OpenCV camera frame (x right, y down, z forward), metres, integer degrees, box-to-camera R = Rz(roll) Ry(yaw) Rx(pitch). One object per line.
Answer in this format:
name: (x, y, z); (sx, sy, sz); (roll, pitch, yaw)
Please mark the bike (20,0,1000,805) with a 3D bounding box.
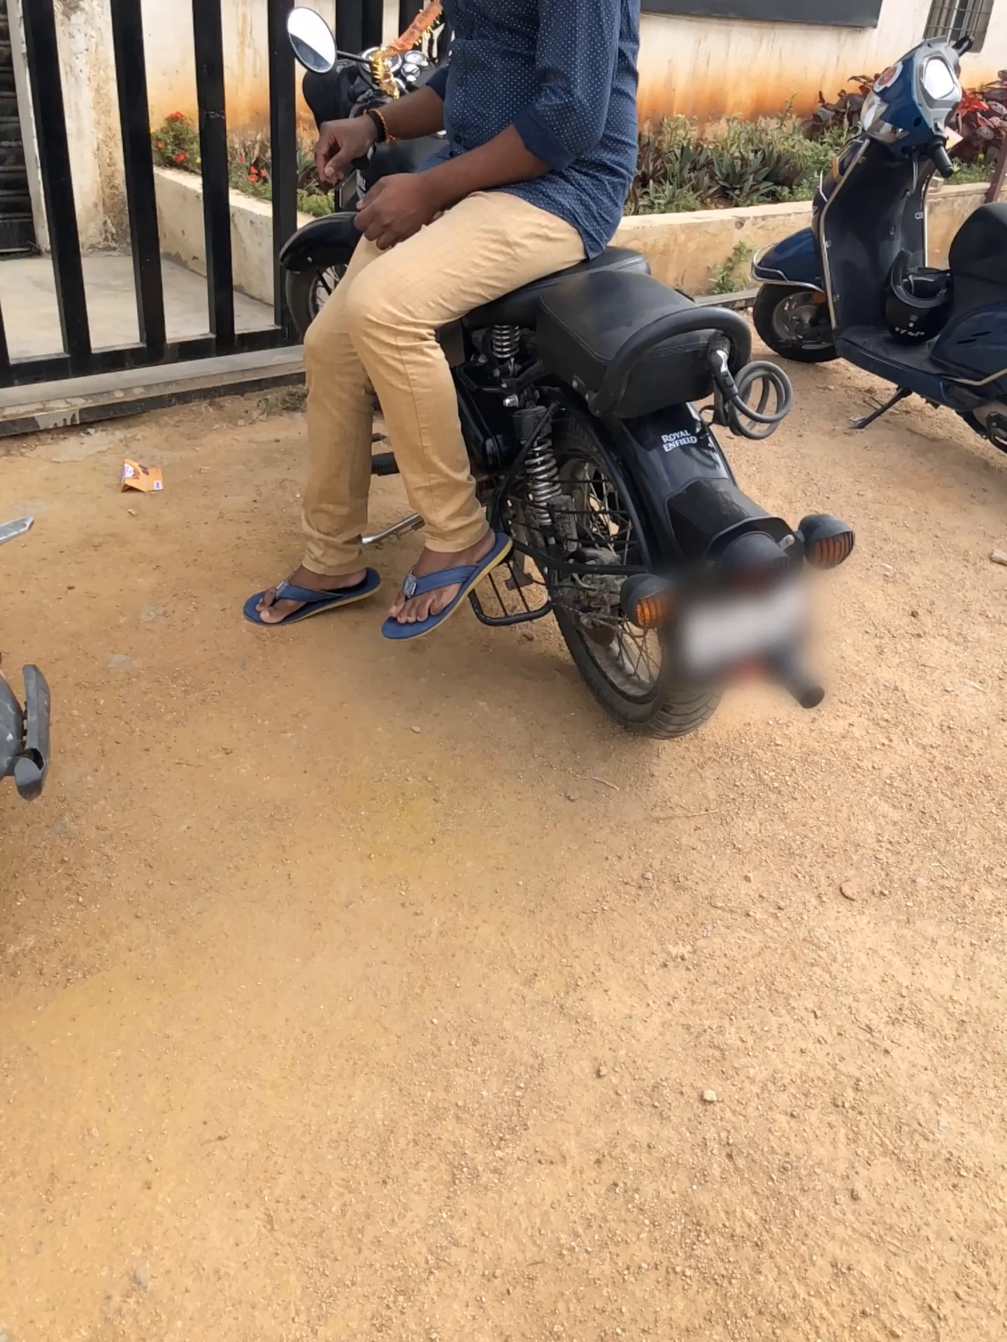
bike: (-0.215, -0.884, 2.156); (0.726, 1.169, 1.809); (-15, 44, -30)
